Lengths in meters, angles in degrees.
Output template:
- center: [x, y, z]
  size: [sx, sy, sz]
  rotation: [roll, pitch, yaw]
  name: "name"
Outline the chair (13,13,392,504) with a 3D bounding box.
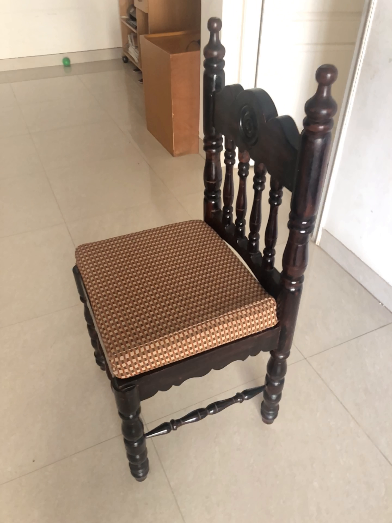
- center: [-0.006, 0.023, 1.076]
  size: [0.561, 1.022, 0.503]
  rotation: [-15, 42, -18]
  name: "chair"
